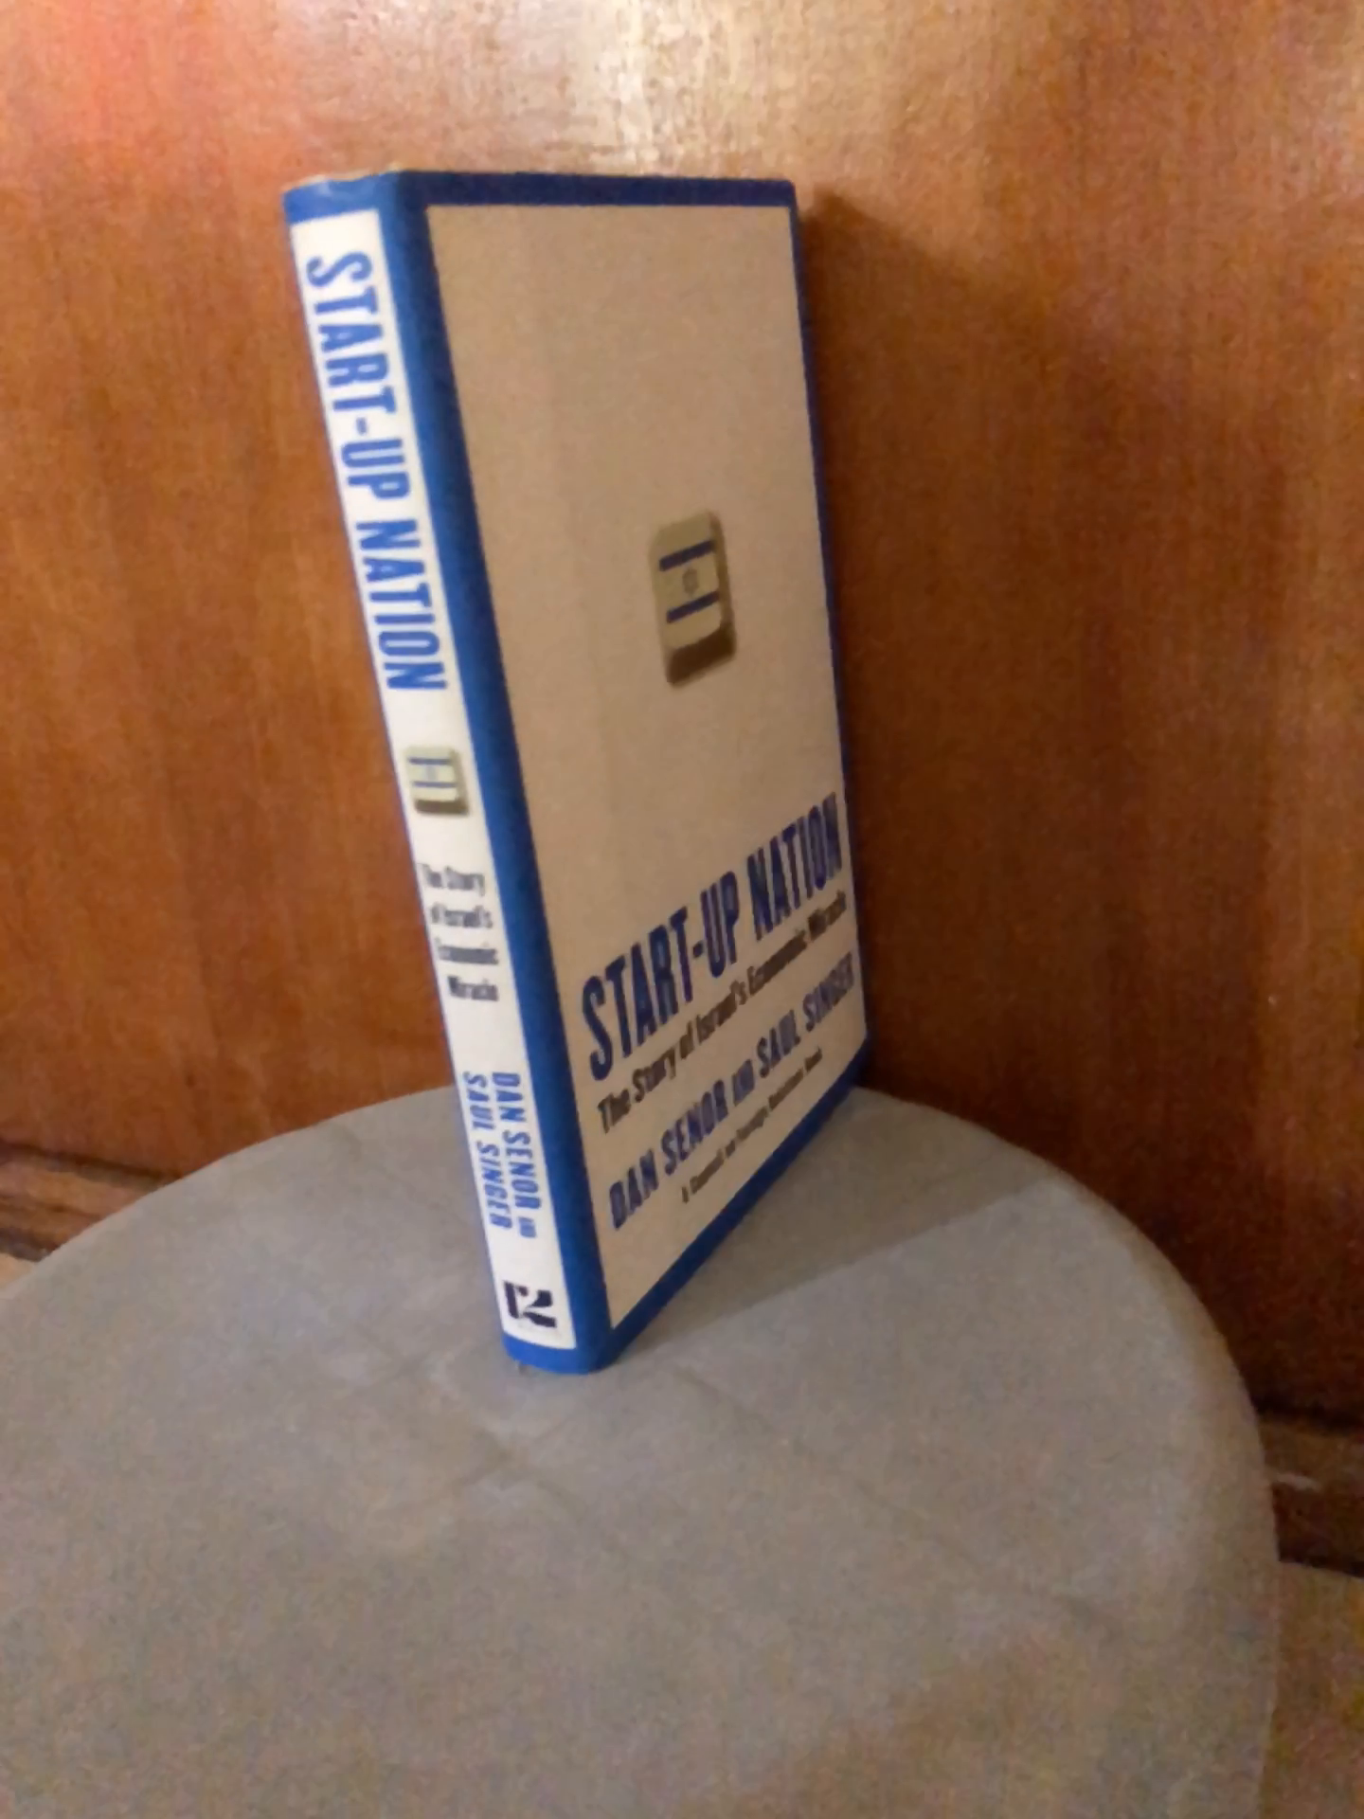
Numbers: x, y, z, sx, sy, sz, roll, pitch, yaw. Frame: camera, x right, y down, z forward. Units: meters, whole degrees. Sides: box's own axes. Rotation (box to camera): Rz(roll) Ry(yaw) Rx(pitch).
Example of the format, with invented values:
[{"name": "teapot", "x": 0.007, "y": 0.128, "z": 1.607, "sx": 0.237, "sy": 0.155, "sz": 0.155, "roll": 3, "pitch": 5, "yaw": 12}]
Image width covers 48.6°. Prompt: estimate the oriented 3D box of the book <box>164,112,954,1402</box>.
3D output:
[{"name": "book", "x": -0.002, "y": -0.046, "z": 0.351, "sx": 0.040, "sy": 0.229, "sz": 0.201, "roll": 4, "pitch": 21, "yaw": 32}]
